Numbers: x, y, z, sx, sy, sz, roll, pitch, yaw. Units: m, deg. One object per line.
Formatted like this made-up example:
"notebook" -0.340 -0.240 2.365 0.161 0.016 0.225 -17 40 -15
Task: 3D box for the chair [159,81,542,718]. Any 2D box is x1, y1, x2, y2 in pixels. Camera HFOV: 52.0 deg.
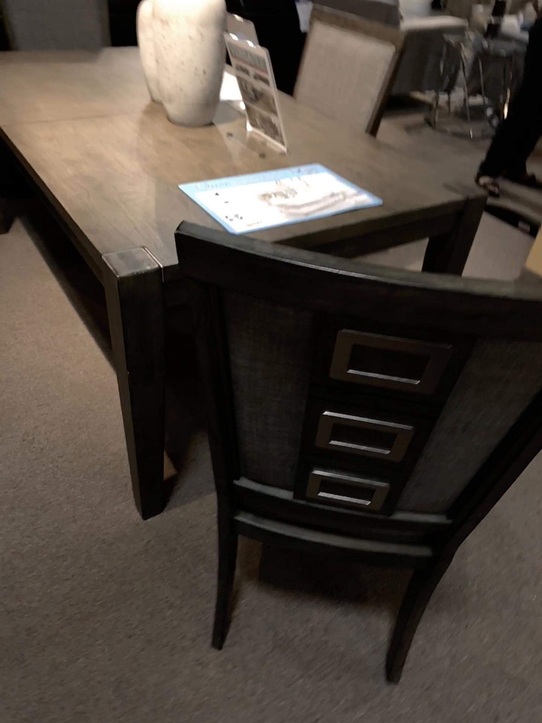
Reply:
"chair" 0.147 0.101 1.079 0.514 0.997 0.646 8 39 3
